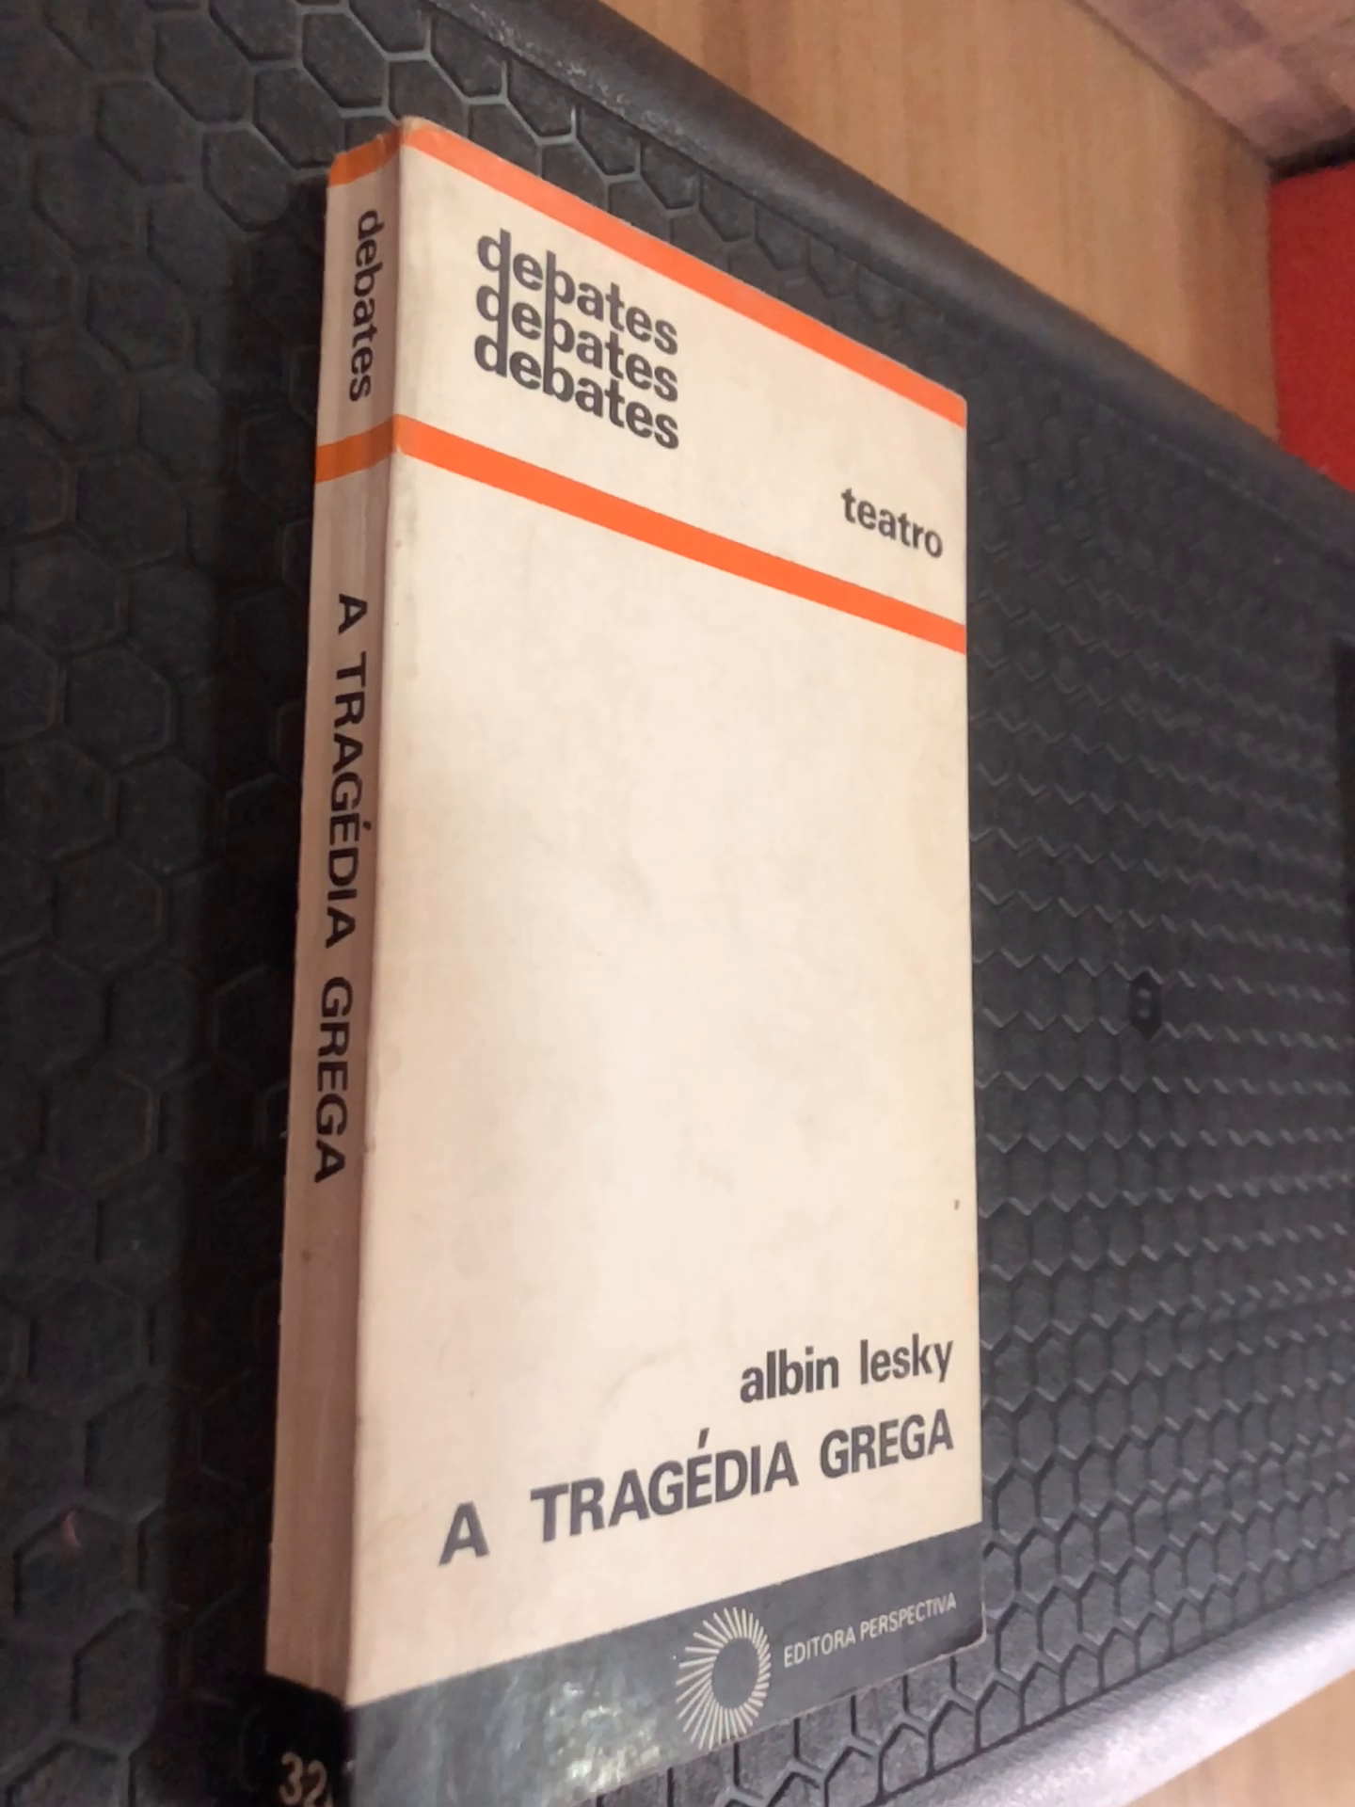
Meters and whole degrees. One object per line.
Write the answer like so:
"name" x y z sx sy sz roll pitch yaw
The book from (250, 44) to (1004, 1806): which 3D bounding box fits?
"book" 0.002 0.007 0.213 0.115 0.020 0.207 8 79 -43
